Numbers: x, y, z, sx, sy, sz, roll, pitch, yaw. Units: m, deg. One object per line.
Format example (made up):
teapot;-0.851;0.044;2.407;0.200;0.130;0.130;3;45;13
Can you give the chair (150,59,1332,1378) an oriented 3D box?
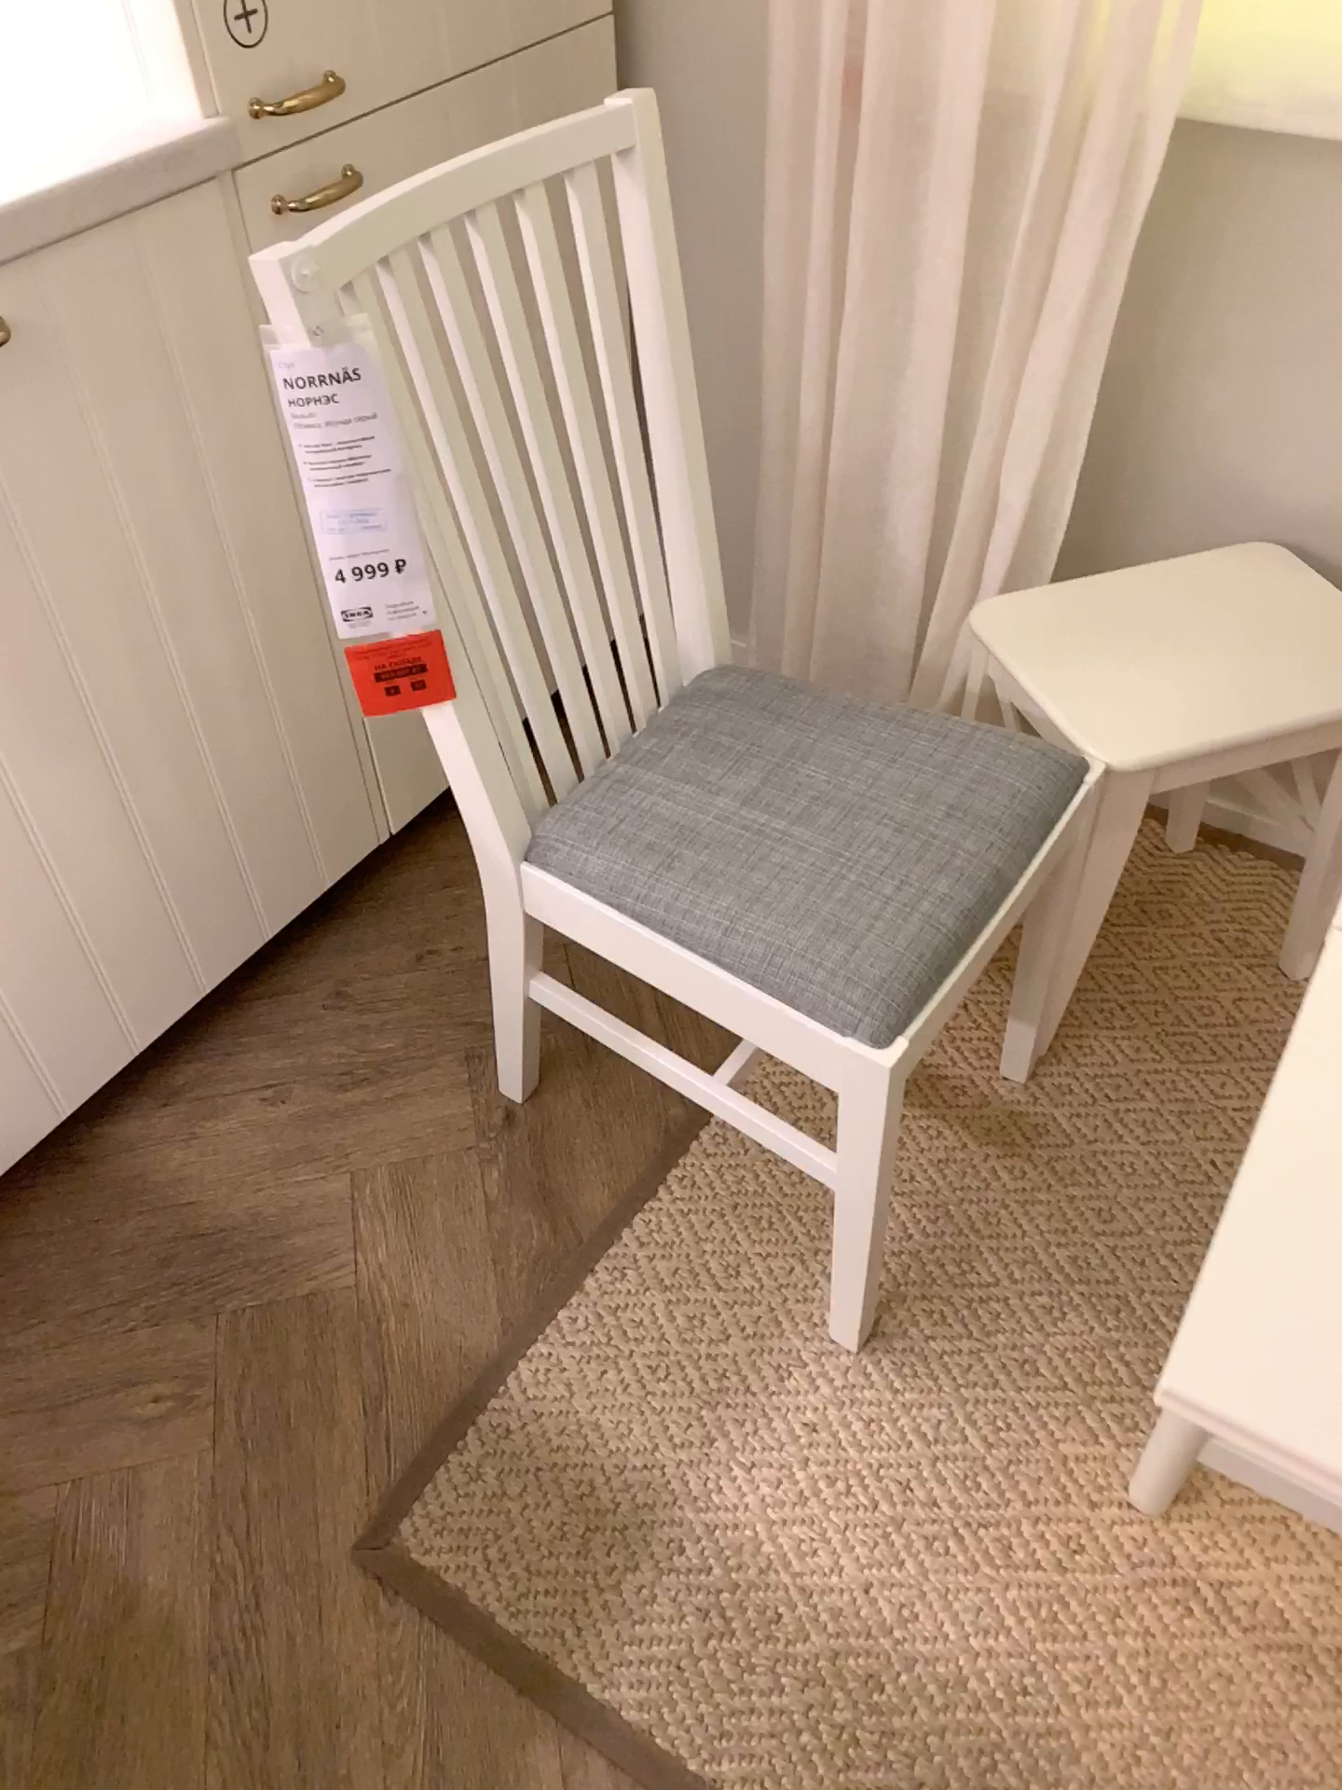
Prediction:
chair;0.074;-0.147;1.270;0.621;0.915;0.552;25;51;24

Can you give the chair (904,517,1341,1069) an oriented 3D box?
chair;0.584;-0.128;1.593;0.460;0.388;0.402;-13;46;-11
